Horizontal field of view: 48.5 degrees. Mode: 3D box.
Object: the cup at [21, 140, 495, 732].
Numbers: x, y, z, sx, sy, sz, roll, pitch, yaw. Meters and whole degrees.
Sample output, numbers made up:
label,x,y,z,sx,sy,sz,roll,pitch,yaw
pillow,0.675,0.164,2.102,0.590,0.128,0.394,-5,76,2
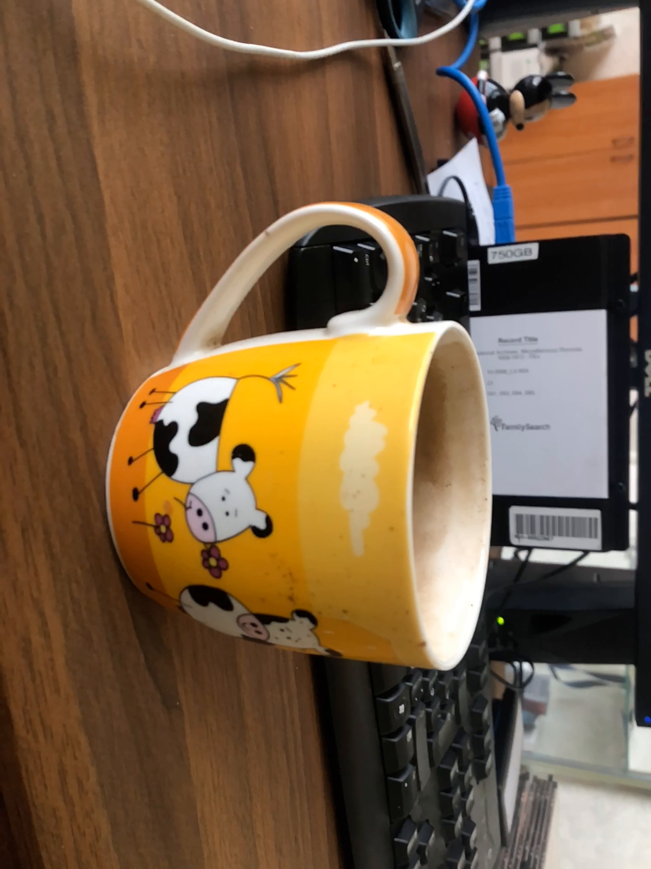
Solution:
label,x,y,z,sx,sy,sz,roll,pitch,yaw
cup,-0.008,-0.005,0.219,0.093,0.095,0.135,-32,119,-62
